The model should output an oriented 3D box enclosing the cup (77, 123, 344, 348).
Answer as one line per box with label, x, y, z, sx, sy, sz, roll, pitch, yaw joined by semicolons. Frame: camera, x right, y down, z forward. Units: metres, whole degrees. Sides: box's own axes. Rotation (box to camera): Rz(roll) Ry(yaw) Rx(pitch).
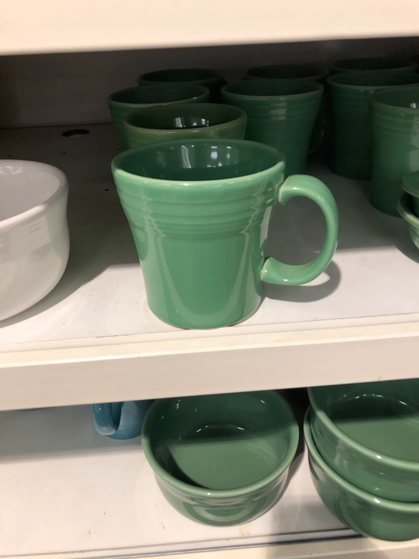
cup;0.008;-0.035;0.300;0.134;0.098;0.107;4;33;10
